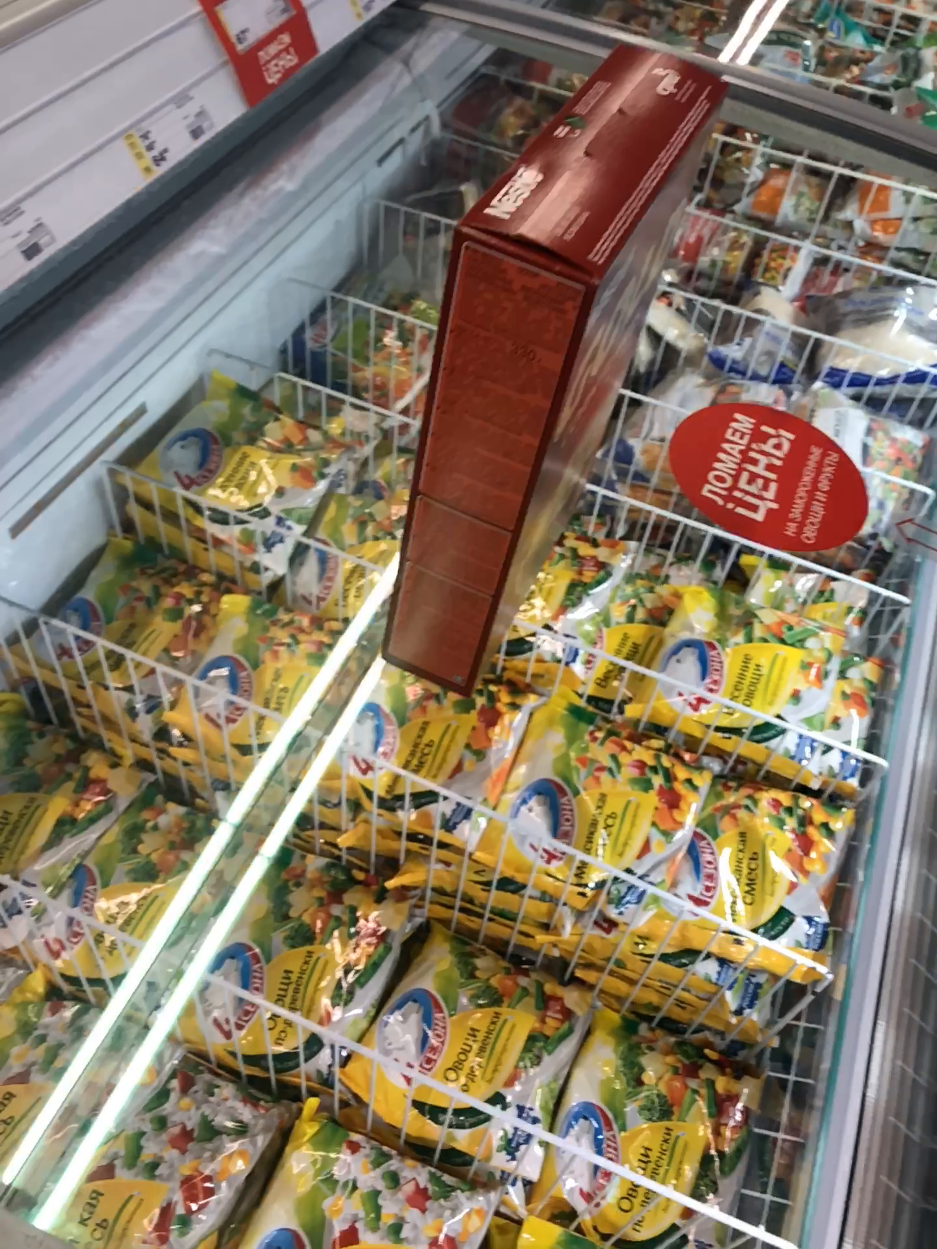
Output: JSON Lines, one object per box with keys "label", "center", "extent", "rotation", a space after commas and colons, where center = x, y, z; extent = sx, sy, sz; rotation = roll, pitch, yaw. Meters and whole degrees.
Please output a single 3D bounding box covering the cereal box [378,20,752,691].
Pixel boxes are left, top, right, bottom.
{"label": "cereal box", "center": [0.042, -0.126, 0.523], "extent": [0.060, 0.258, 0.211], "rotation": [25, 52, 7]}
